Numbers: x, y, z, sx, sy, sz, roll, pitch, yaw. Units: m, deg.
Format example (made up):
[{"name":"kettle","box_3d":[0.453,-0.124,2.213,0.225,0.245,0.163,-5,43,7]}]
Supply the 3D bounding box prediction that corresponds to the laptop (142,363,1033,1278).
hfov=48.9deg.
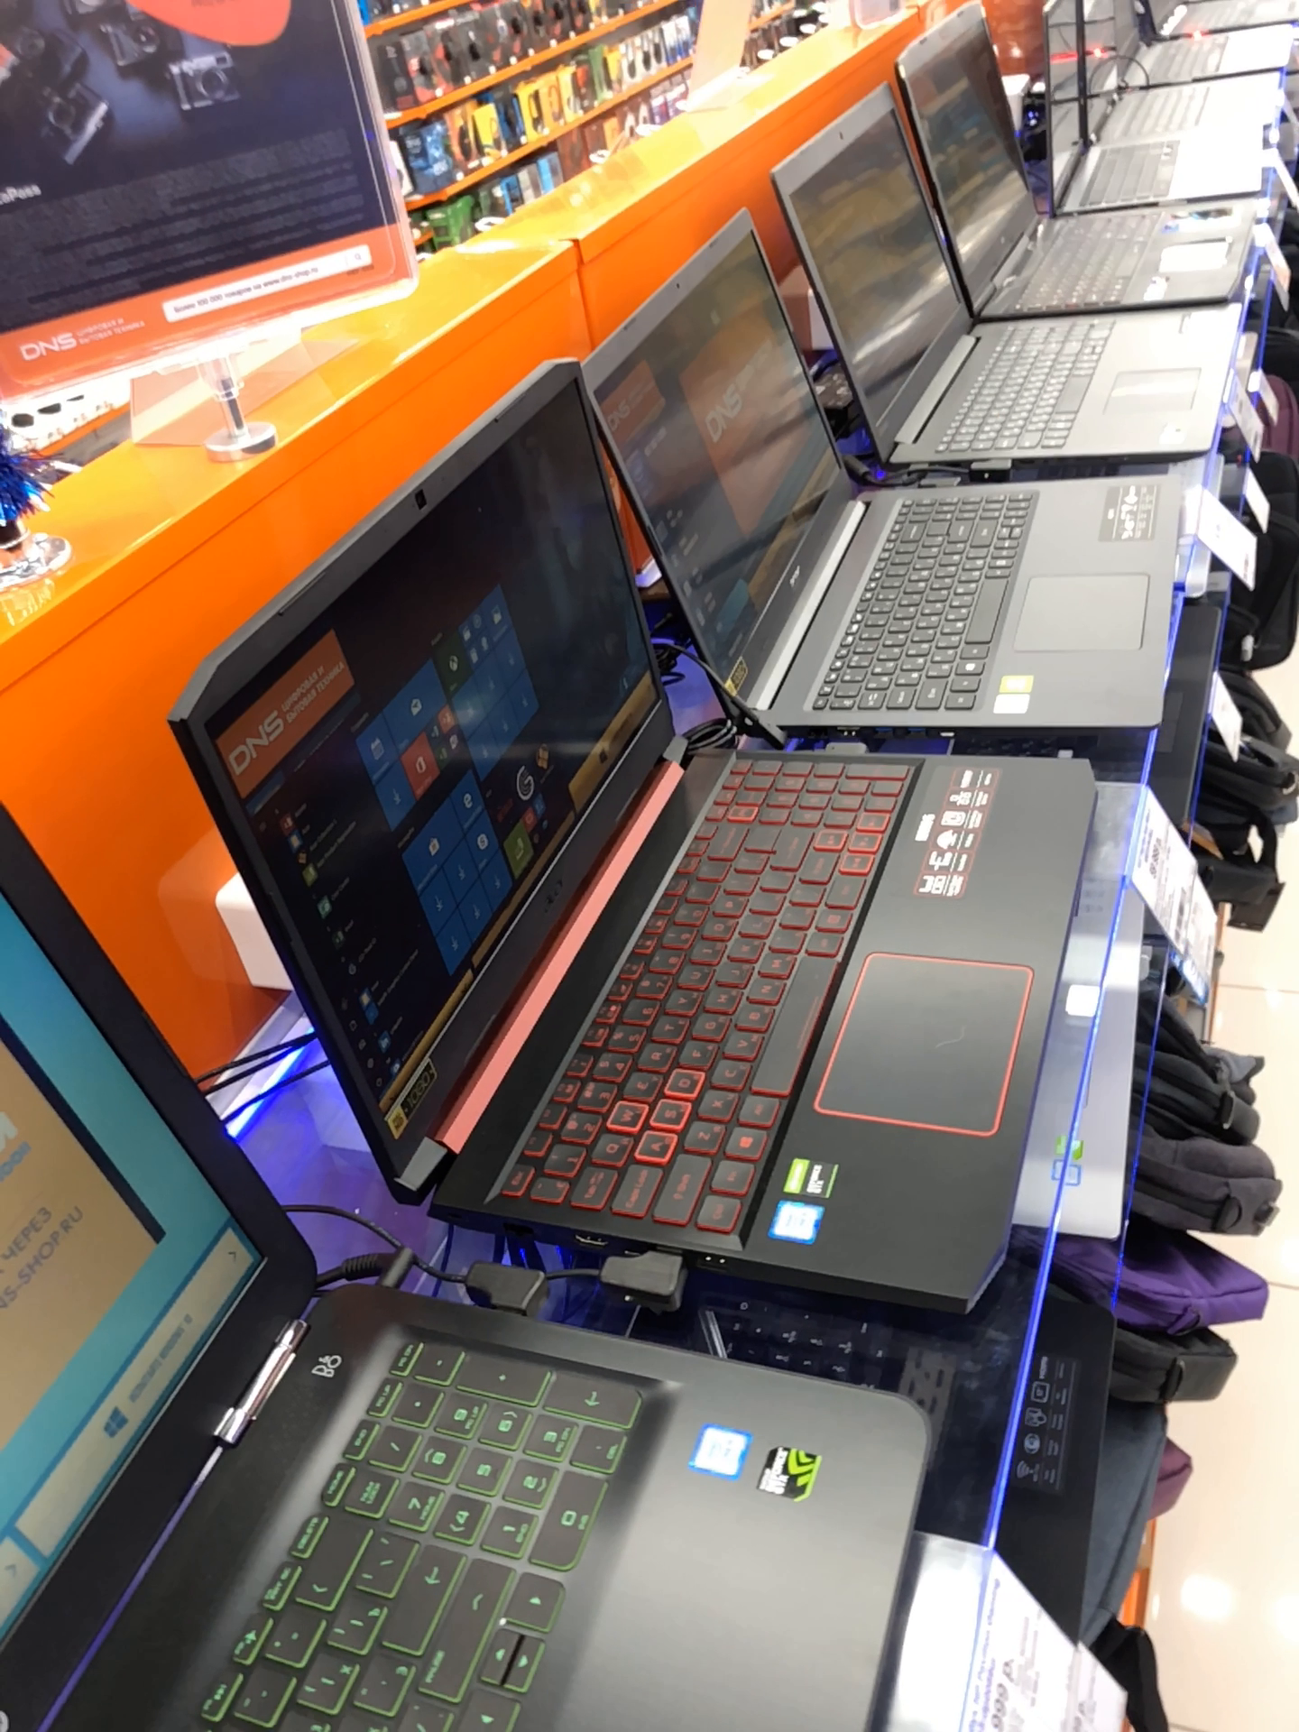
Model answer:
[{"name":"laptop","box_3d":[0.017,-0.046,0.630,0.251,0.231,0.330,3,36,21]}]
